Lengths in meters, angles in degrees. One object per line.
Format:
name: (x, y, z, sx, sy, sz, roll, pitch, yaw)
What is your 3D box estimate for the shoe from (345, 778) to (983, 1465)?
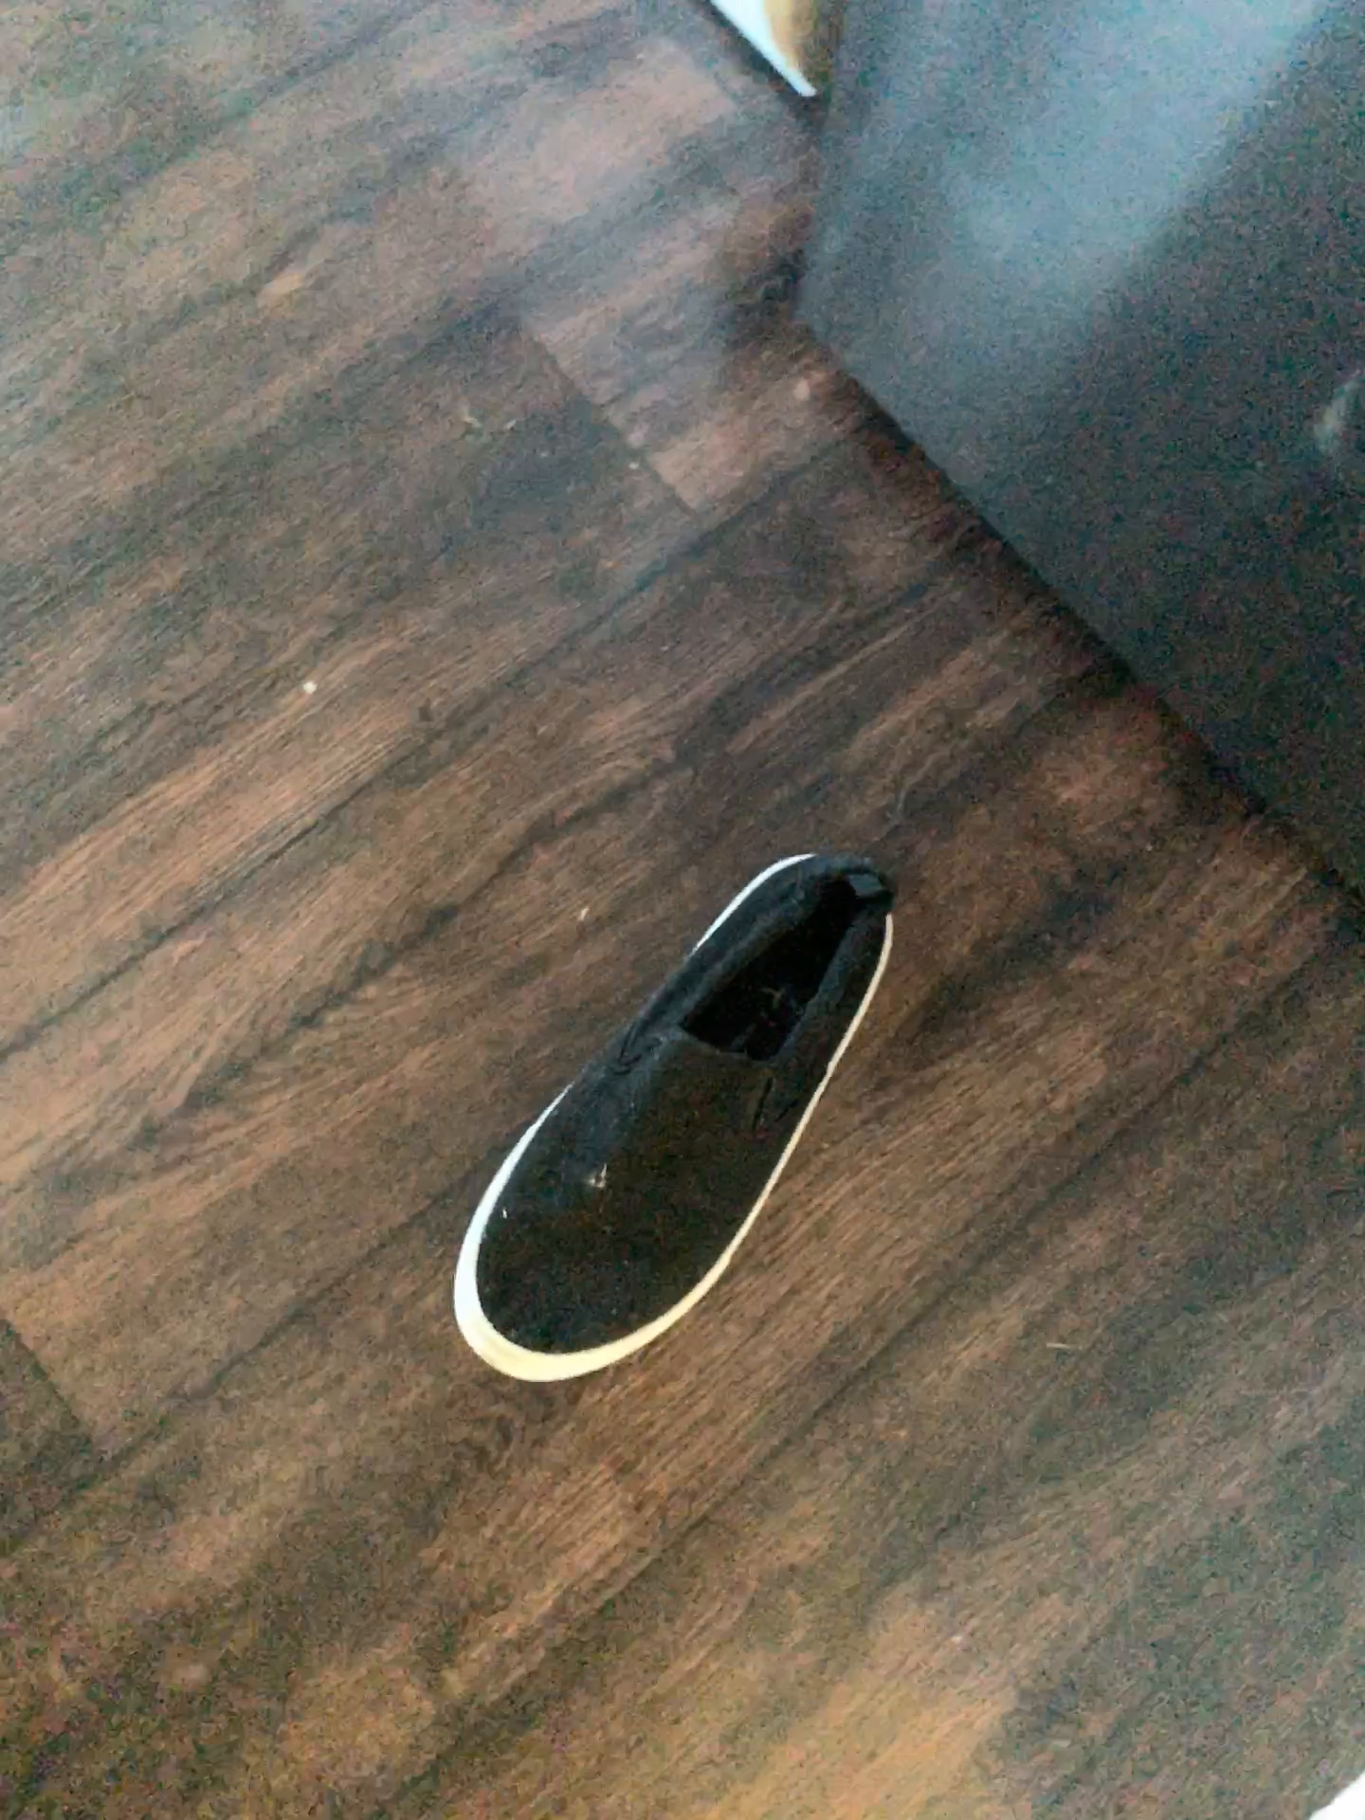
shoe: (-0.004, 0.078, 0.544, 0.100, 0.080, 0.238, 40, 77, 7)
